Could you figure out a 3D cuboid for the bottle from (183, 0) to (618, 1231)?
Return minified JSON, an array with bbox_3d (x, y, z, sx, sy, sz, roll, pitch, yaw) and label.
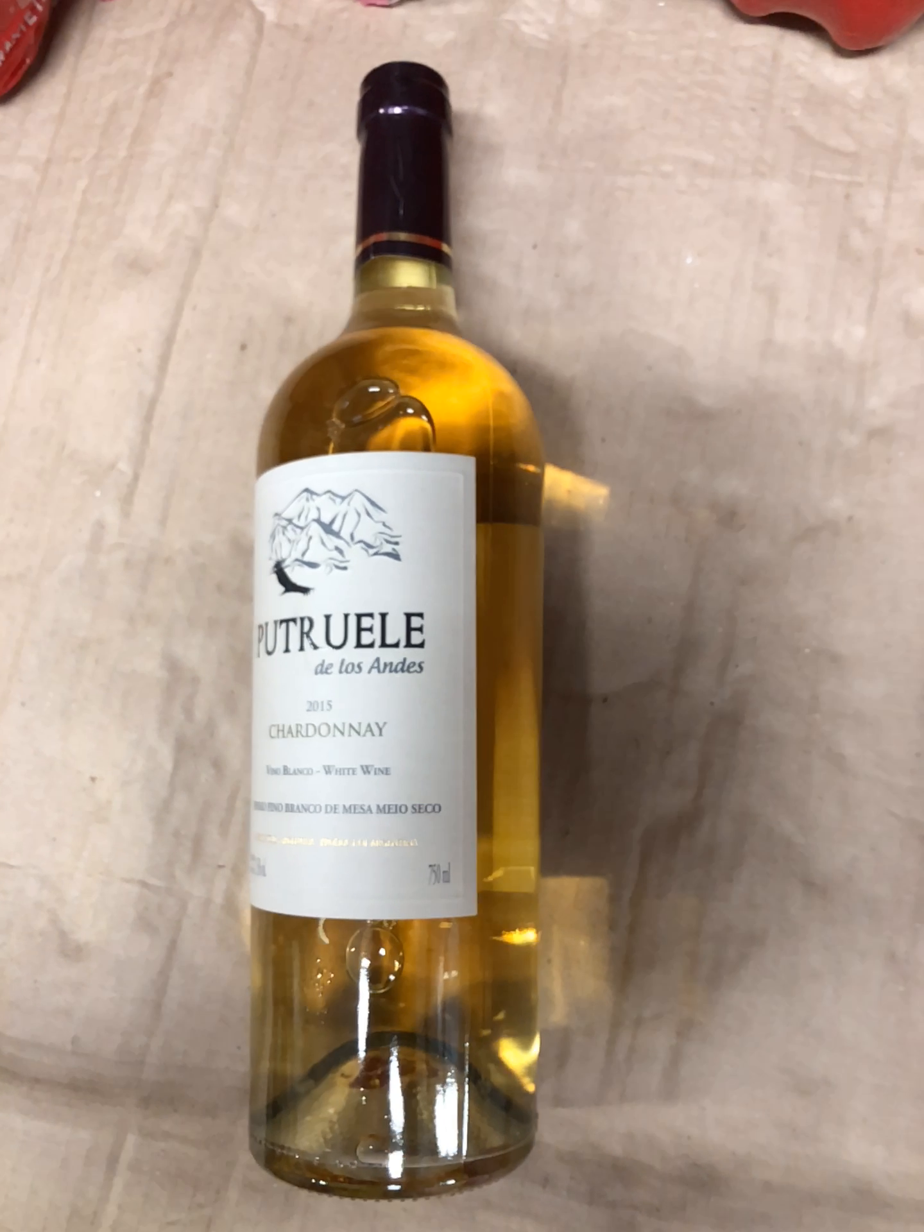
[{"bbox_3d":[-0.012,-0.016,0.275,0.080,0.070,0.300,-5,79,25],"label":"bottle"}]
